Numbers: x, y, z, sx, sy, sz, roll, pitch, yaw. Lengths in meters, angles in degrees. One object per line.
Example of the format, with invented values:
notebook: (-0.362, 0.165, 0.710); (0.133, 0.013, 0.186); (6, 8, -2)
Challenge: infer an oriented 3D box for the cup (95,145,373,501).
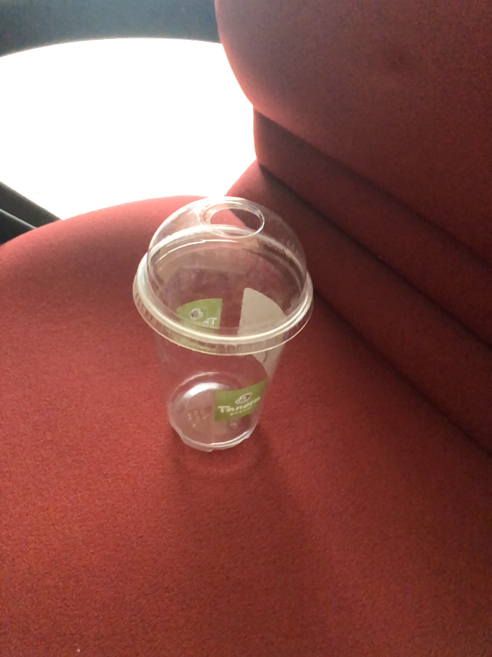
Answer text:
cup: (-0.015, -0.002, 0.304); (0.090, 0.150, 0.100); (-19, 50, -26)
